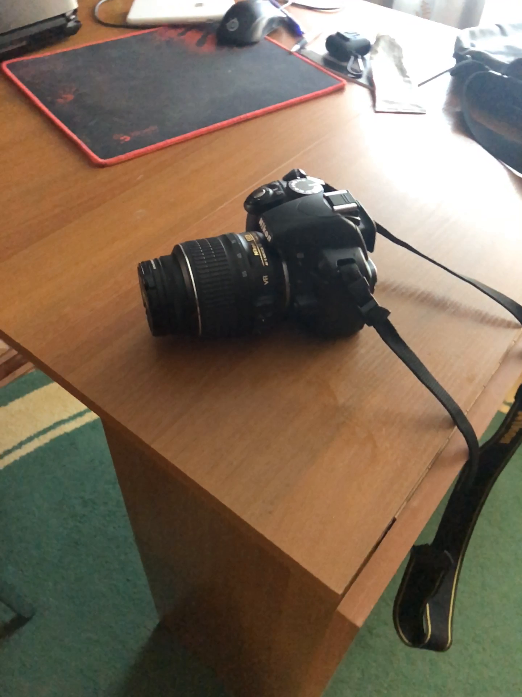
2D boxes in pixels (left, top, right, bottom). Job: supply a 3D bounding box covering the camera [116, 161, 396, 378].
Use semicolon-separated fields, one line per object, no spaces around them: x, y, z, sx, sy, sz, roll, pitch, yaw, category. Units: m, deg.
-0.009;-0.061;0.415;0.161;0.078;0.111;-11;50;-14;camera
